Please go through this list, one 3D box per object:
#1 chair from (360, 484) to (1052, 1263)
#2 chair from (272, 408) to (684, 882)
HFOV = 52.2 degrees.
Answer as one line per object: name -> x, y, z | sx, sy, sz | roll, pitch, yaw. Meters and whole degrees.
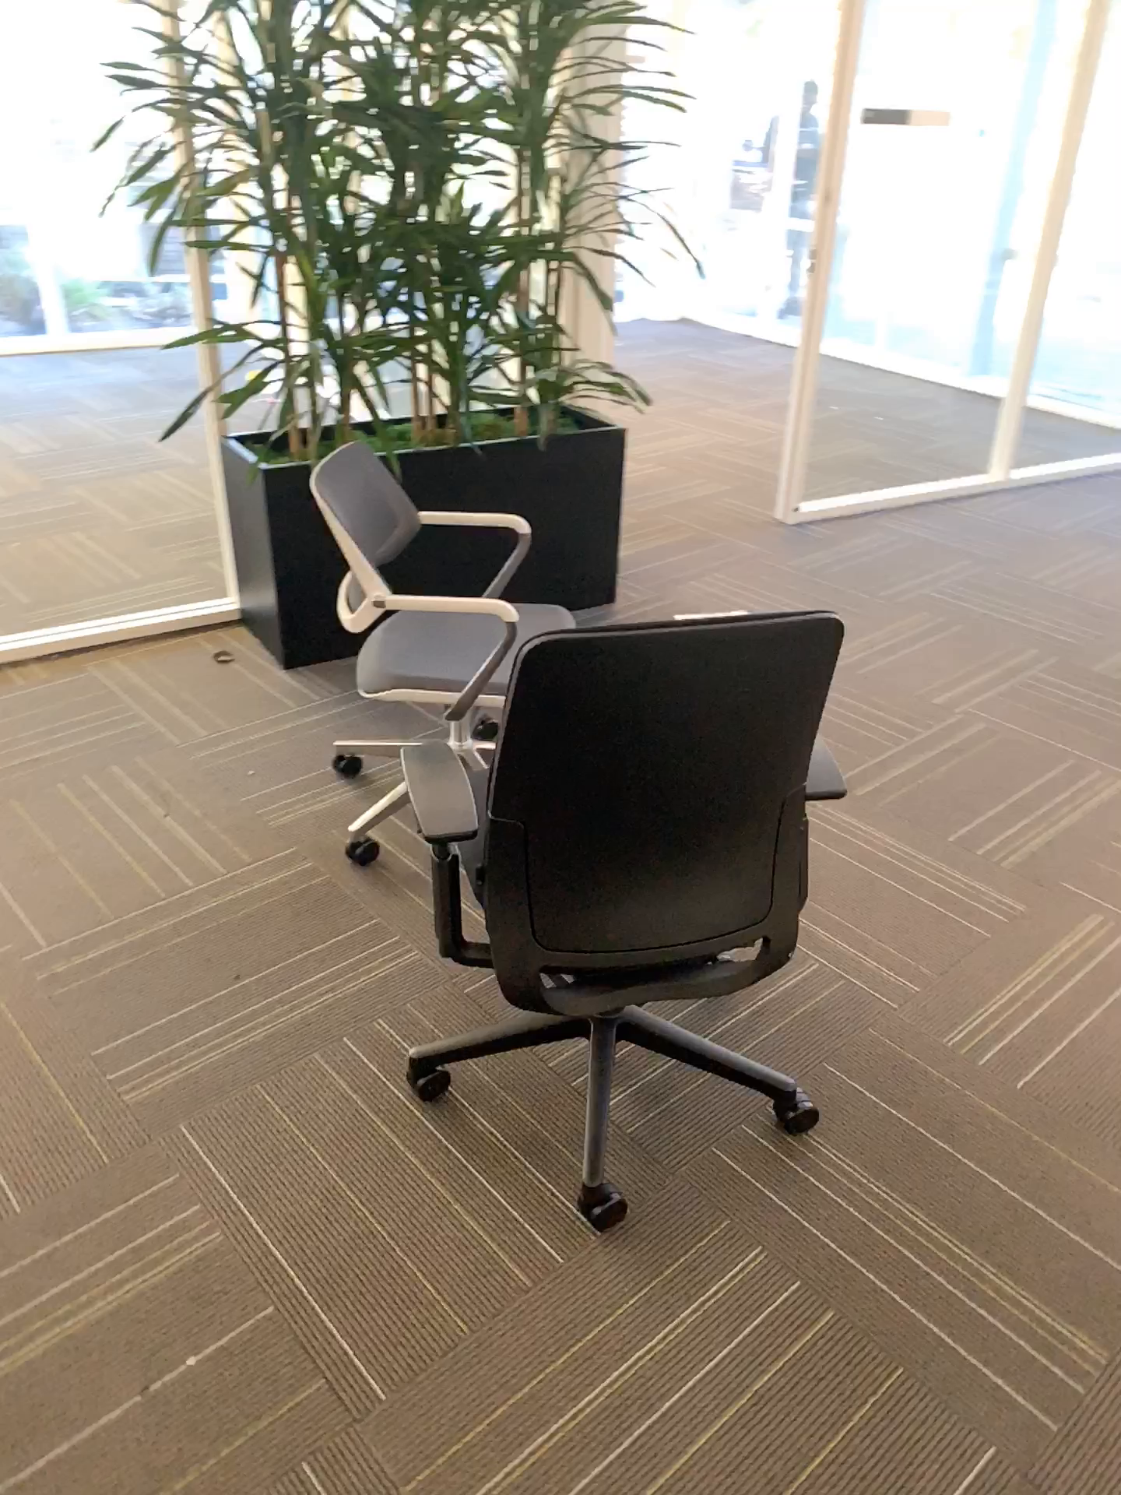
chair -> 0.114, 0.139, 1.803 | 0.770, 0.885, 0.745 | -4, 29, -10
chair -> -0.180, -0.270, 2.622 | 0.740, 0.795, 0.845 | 0, 29, -3
